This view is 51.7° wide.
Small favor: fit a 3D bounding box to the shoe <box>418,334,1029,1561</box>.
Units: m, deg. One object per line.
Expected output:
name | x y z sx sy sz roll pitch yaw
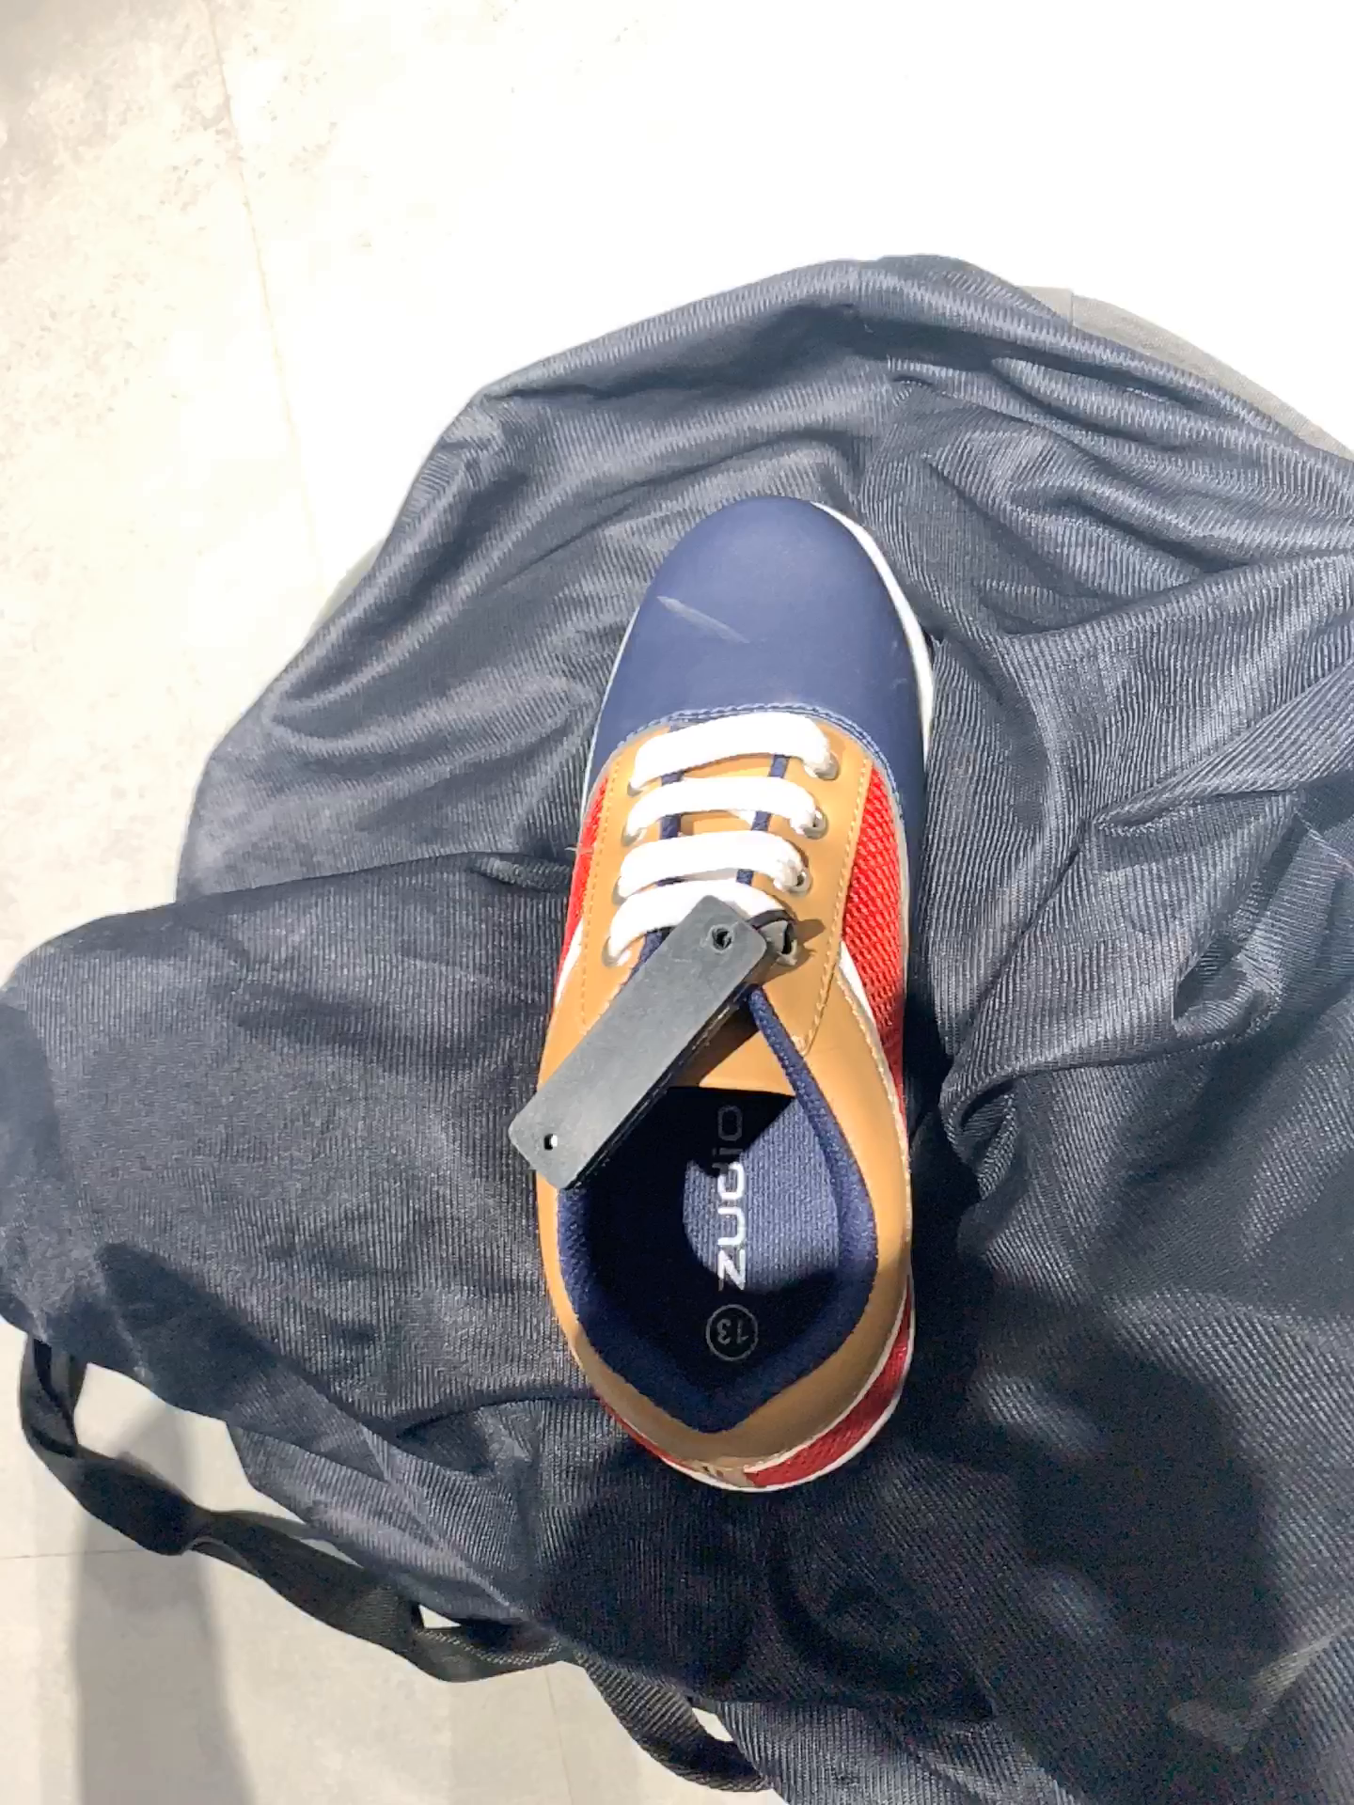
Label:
shoe | 0.010 0.009 0.256 0.080 0.070 0.190 -8 73 23
